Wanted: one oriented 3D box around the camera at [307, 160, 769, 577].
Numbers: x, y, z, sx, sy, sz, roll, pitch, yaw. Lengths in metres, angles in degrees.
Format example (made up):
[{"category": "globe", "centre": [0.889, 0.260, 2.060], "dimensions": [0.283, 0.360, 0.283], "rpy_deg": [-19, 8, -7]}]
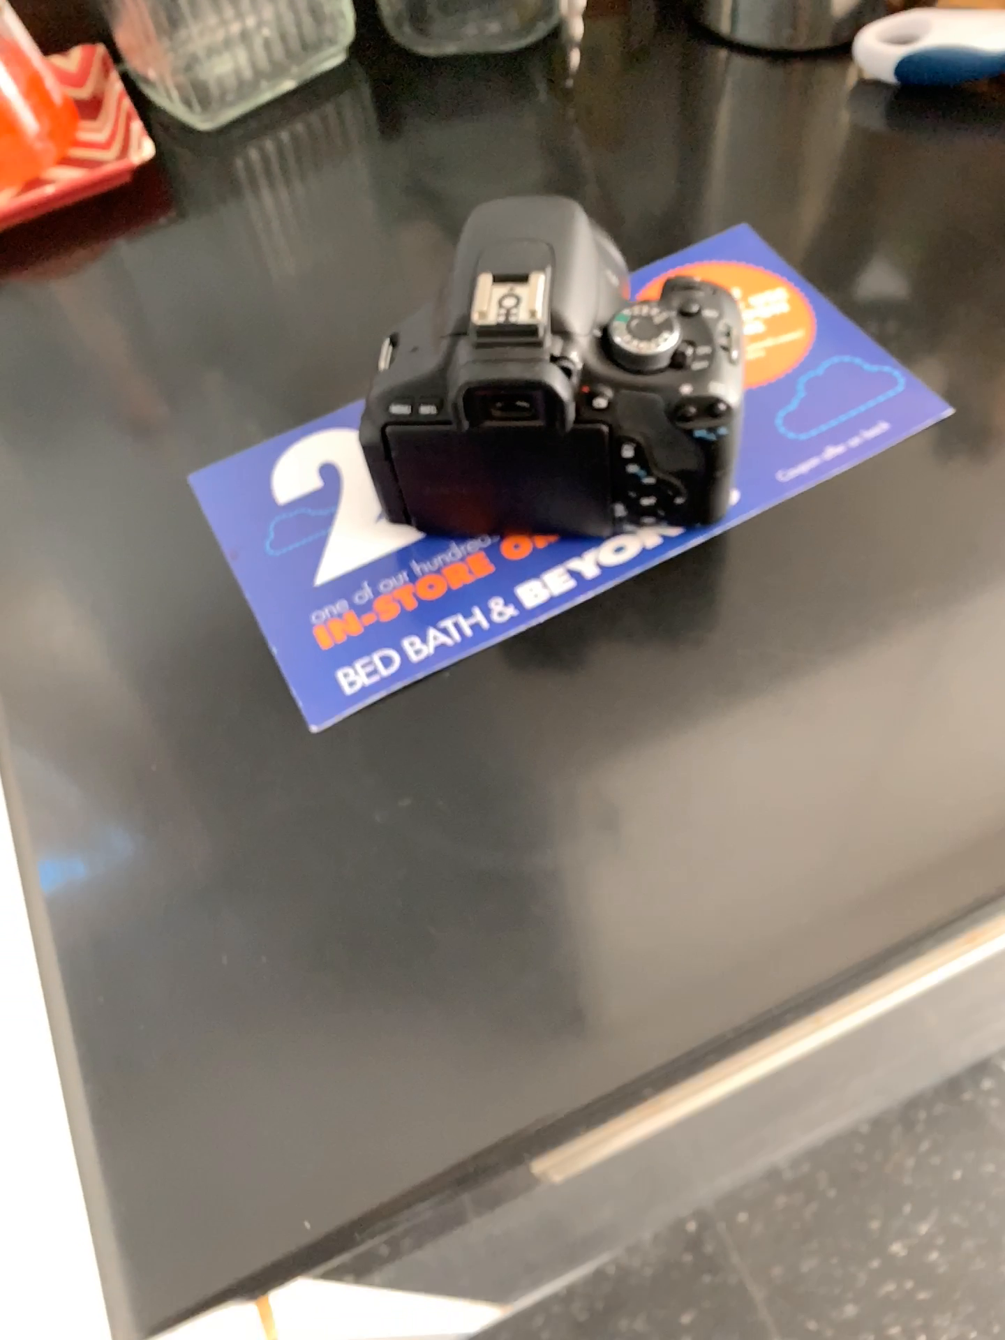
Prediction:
[{"category": "camera", "centre": [0.019, -0.102, 0.363], "dimensions": [0.133, 0.088, 0.103], "rpy_deg": [3, 58, 9]}]
